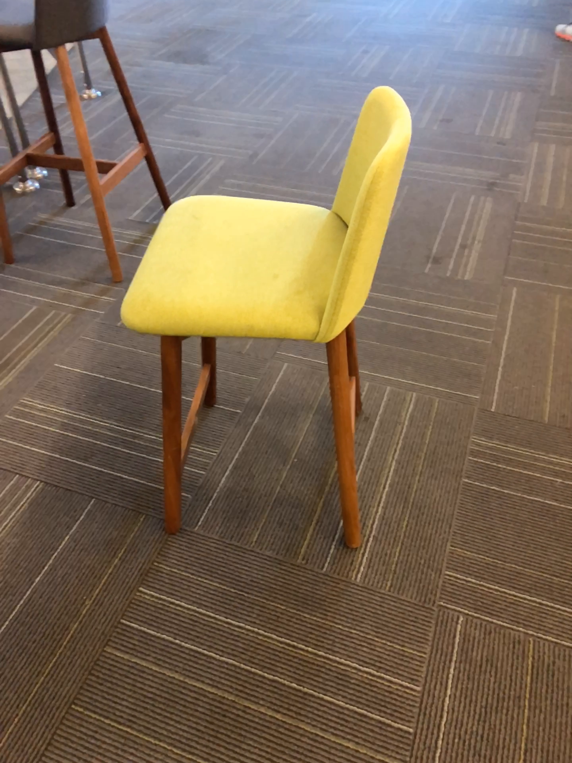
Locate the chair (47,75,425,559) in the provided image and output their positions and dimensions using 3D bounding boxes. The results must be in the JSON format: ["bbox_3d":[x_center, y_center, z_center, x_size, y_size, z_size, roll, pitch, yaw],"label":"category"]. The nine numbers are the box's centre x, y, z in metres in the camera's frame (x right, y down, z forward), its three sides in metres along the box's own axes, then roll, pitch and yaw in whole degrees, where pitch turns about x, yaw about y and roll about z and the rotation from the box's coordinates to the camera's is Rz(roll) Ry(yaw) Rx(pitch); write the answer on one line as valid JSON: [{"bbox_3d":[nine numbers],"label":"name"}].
[{"bbox_3d":[-0.041,-0.094,1.305,0.510,0.876,0.462,2,43,5],"label":"chair"}]
